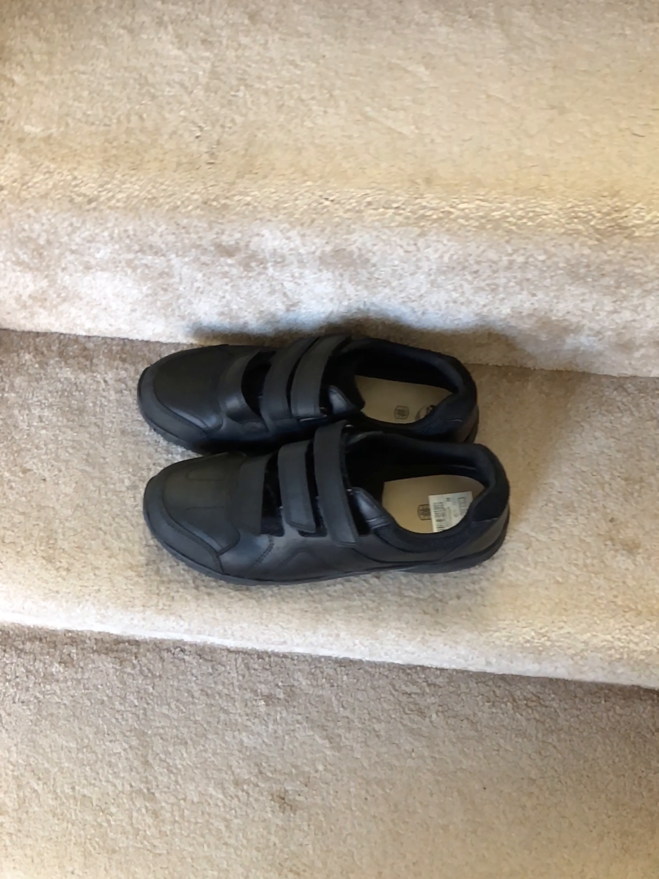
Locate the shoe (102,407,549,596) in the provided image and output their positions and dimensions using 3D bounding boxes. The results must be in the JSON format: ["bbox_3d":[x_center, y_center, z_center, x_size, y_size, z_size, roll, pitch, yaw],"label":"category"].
[{"bbox_3d":[-0.002,0.047,0.505,0.270,0.100,0.100,0,64,2],"label":"shoe"}]

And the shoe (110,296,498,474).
[{"bbox_3d":[-0.017,-0.040,0.572,0.270,0.100,0.100,0,64,2],"label":"shoe"}]
